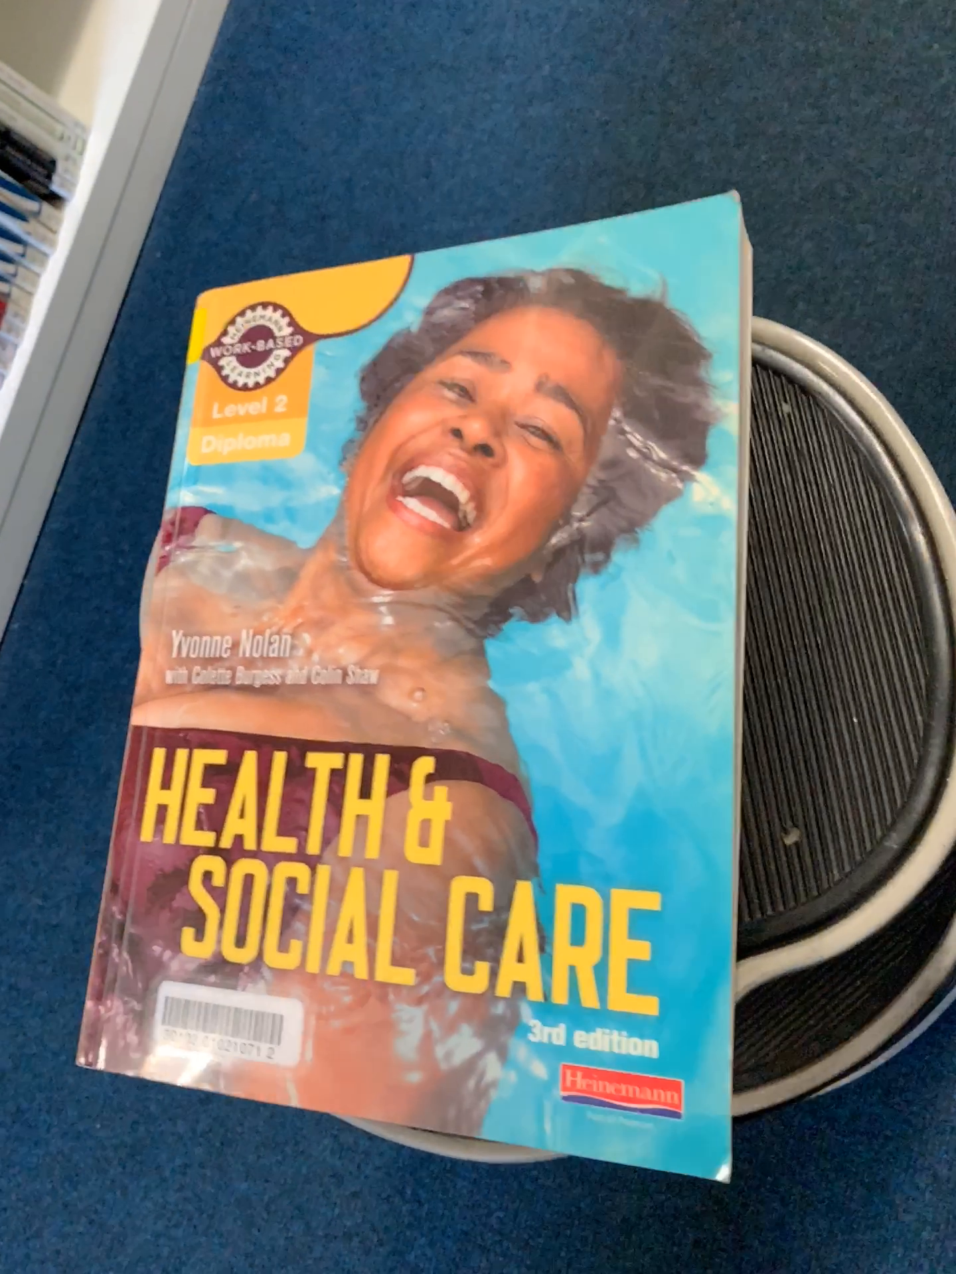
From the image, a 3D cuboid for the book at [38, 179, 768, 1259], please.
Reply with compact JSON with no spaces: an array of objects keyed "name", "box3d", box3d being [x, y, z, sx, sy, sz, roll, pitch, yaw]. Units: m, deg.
[{"name":"book","box3d":[-0.020,0.008,0.295,0.201,0.030,0.270,-1,76,22]}]
